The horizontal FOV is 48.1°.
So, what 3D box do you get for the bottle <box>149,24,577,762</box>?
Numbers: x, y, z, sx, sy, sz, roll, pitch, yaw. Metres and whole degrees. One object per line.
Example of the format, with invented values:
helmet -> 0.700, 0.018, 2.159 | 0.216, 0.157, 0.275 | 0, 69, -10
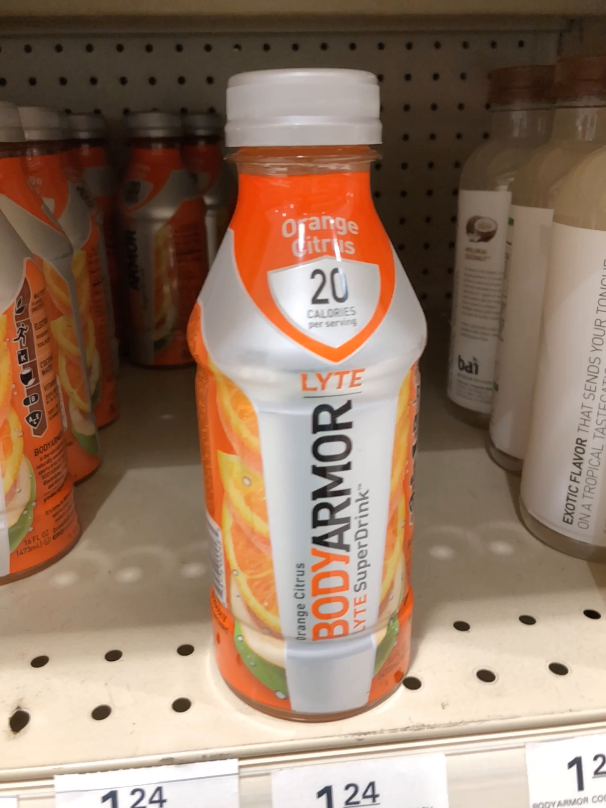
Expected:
bottle -> 0.008, -0.002, 0.195 | 0.080, 0.180, 0.080 | -1, 22, 0
